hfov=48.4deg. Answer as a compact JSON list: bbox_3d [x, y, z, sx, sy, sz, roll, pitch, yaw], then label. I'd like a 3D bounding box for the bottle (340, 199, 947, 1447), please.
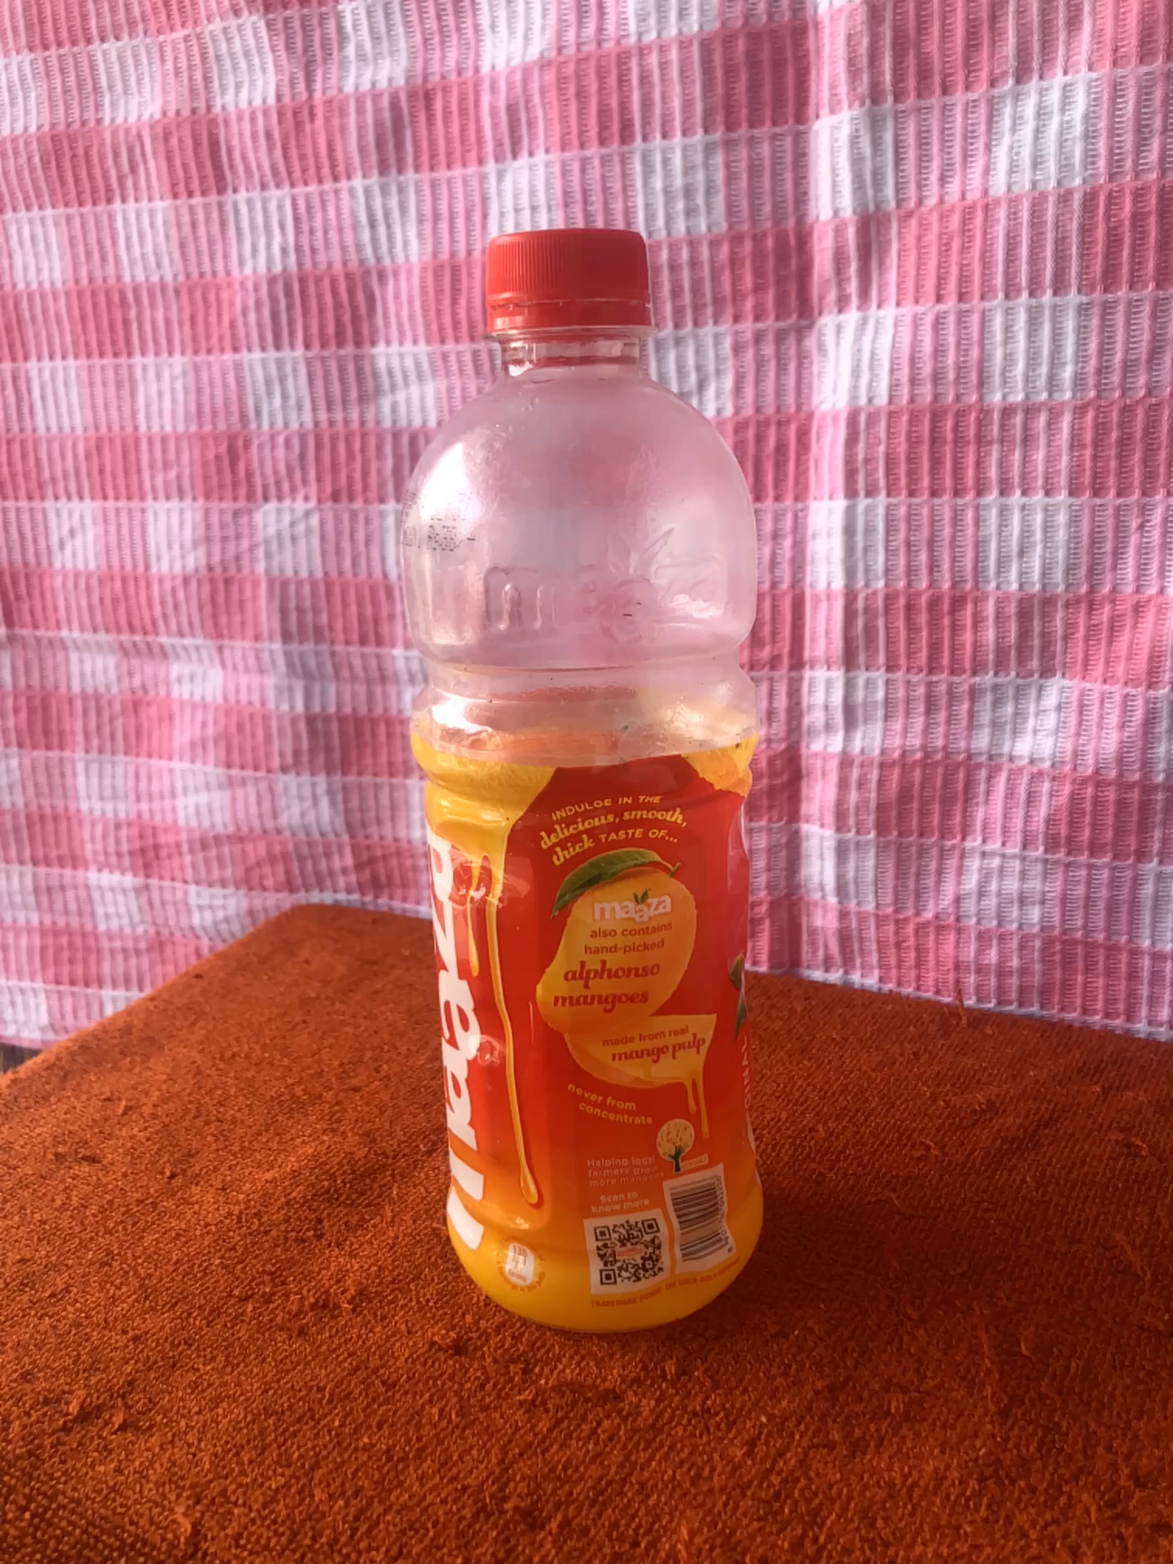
[{"bbox_3d":[0.009,0.005,0.256,0.070,0.209,0.080,-13,22,-31],"label":"bottle"}]
